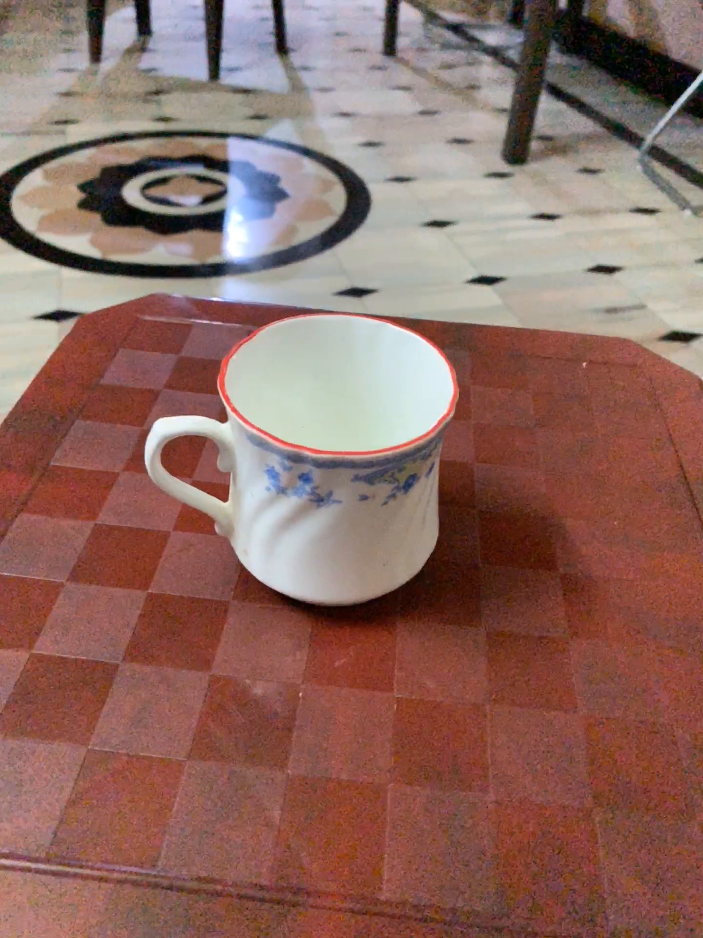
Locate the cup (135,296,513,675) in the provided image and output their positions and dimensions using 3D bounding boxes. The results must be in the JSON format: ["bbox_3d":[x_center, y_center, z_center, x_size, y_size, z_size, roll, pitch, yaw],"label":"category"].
[{"bbox_3d":[-0.013,0.003,0.227,0.090,0.080,0.070,-8,43,-13],"label":"cup"}]
